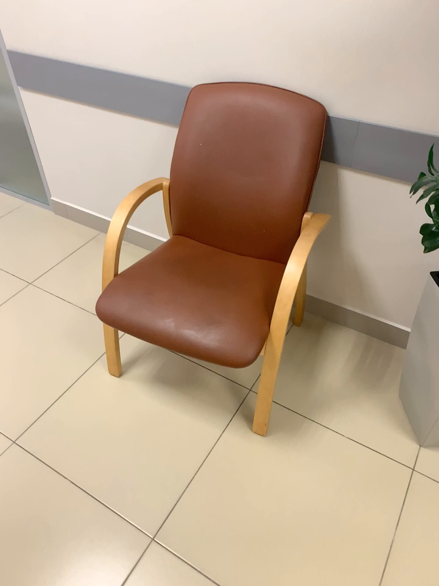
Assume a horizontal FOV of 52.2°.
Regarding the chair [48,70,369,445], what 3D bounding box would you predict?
[{"bbox_3d":[0.008,-0.114,1.543,0.671,0.984,0.603,18,45,19],"label":"chair"}]
